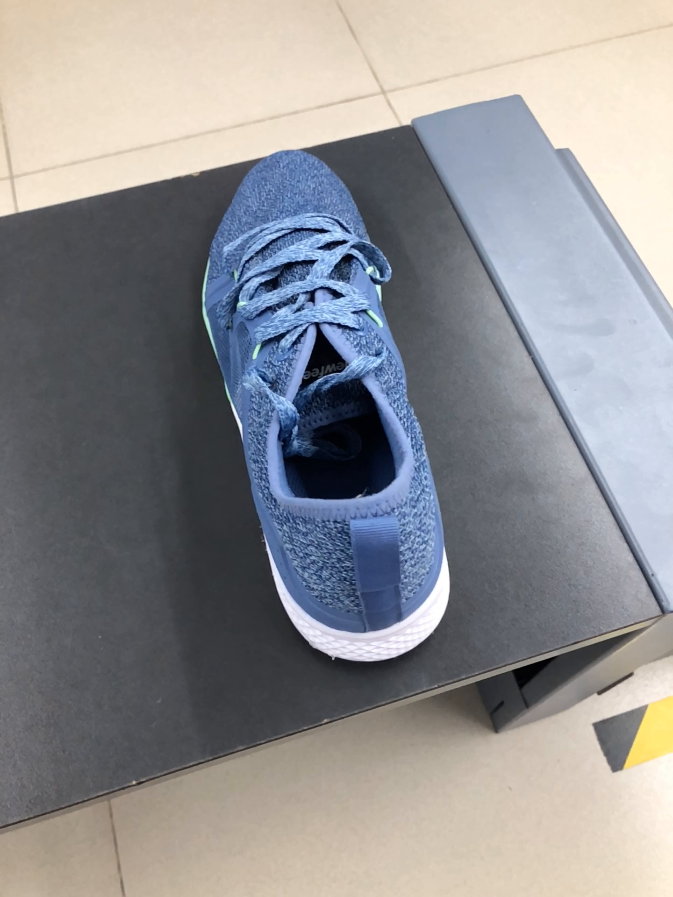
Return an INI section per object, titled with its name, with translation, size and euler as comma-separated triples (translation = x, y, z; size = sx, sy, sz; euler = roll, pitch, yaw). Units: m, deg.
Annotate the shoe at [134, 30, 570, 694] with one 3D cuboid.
[shoe]
translation = -0.011, -0.053, 0.327
size = 0.100, 0.080, 0.281
euler = -13, 62, -6
